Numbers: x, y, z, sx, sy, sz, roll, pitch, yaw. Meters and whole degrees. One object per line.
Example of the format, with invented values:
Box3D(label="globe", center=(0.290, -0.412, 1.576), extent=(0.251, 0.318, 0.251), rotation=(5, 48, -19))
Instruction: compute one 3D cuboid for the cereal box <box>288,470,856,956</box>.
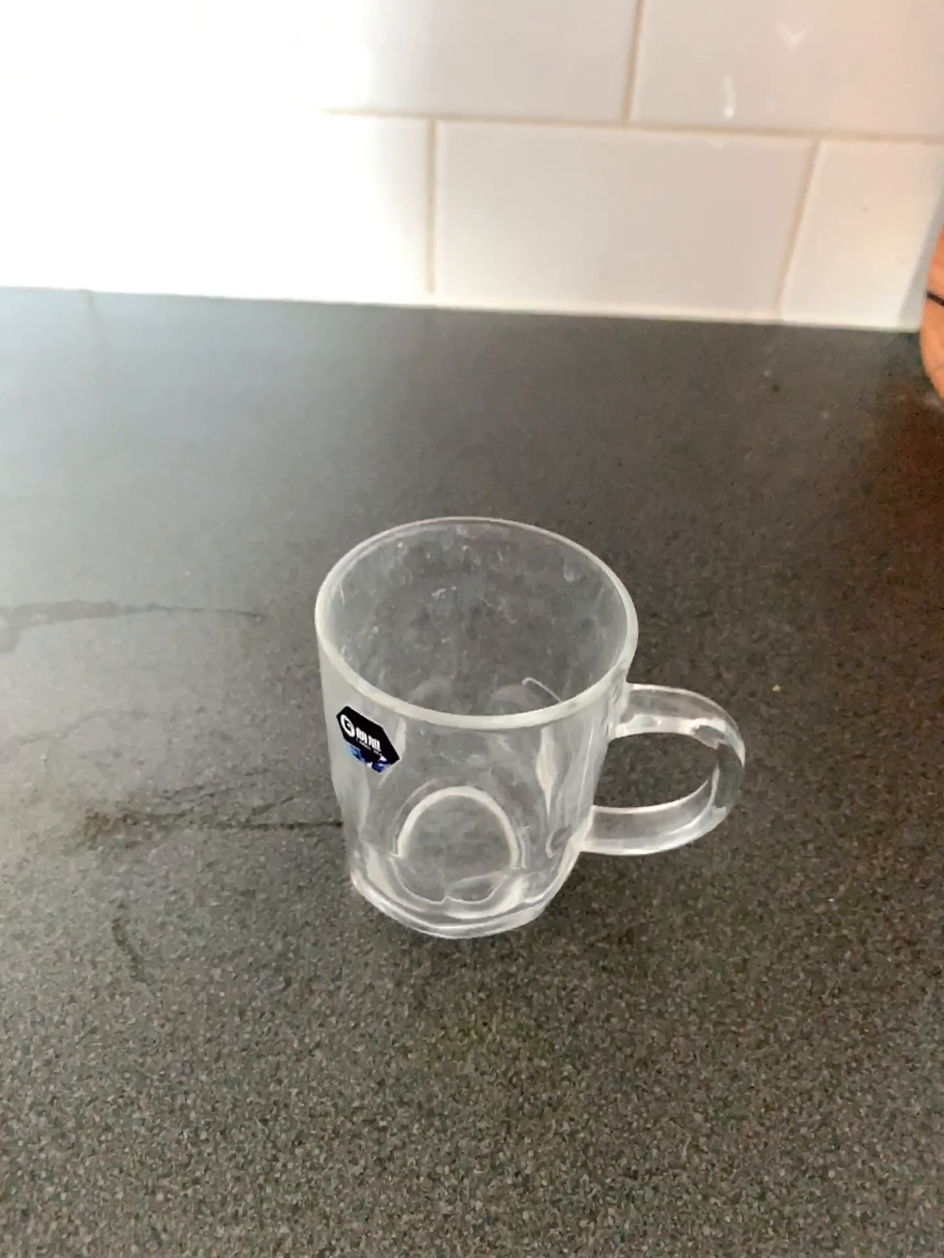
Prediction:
Box3D(label="cereal box", center=(0.018, 0.021, 0.249), extent=(0.110, 0.089, 0.081), rotation=(1, 39, -2))
